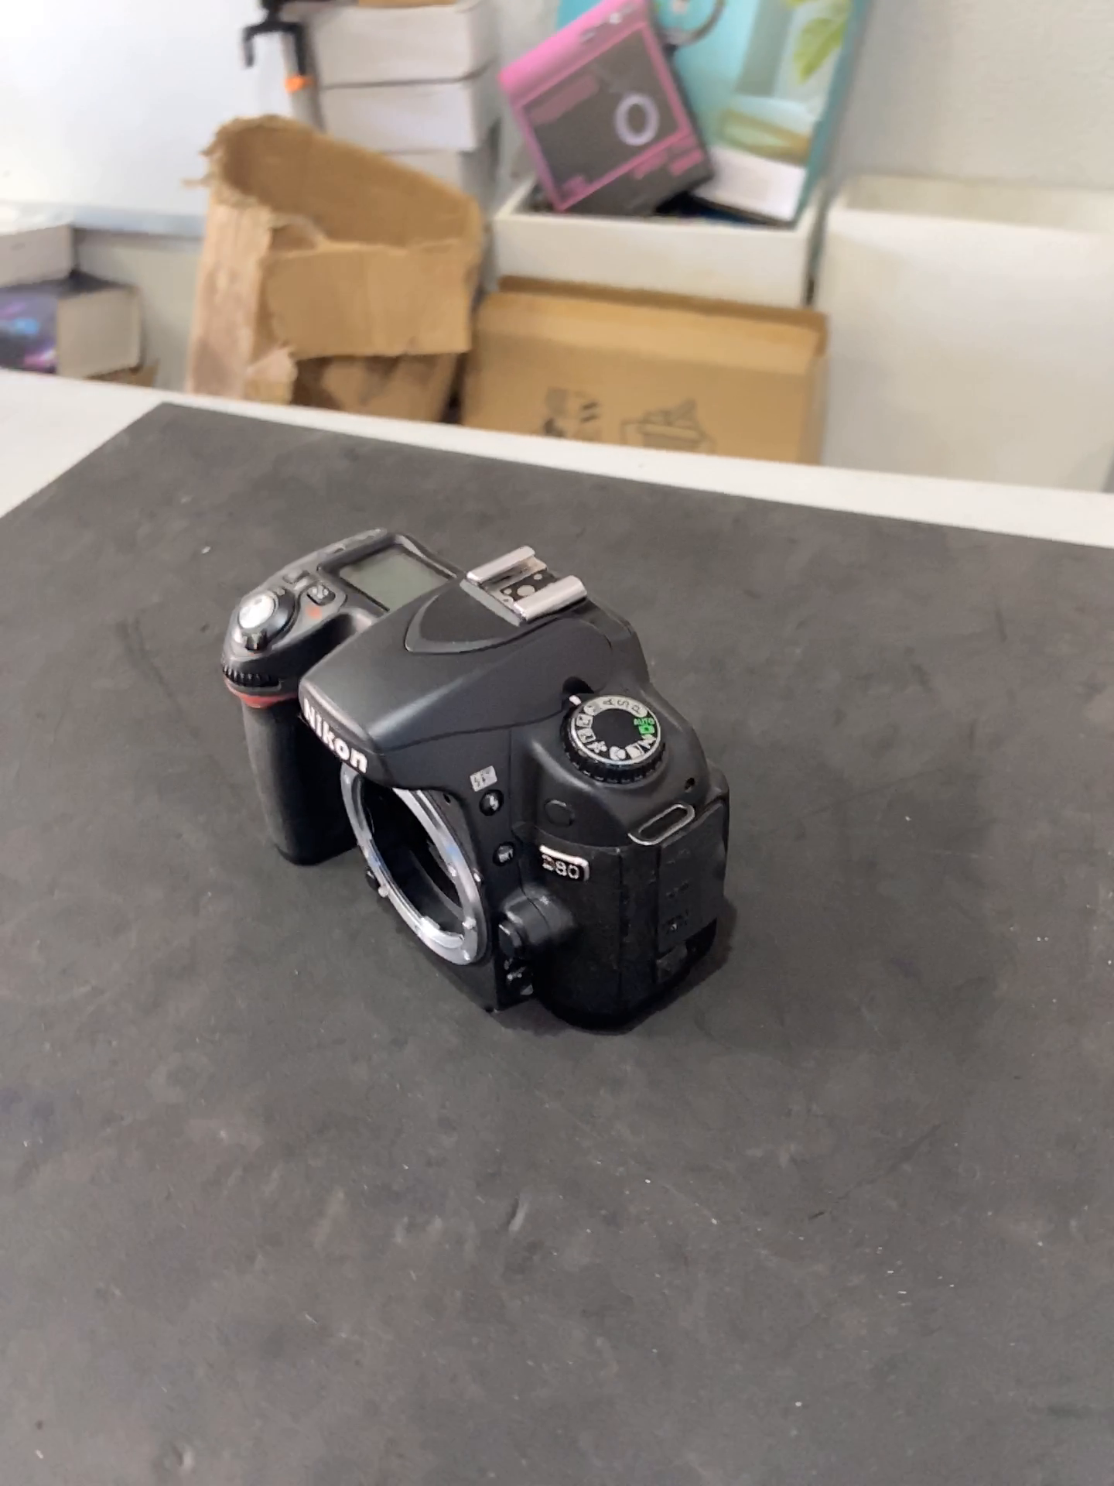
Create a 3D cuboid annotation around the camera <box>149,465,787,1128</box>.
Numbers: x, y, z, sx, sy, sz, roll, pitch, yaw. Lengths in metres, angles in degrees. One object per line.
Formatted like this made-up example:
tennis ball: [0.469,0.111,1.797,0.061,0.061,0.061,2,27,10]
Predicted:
camera: [-0.024,0.005,0.299,0.084,0.088,0.136,-31,48,-29]
